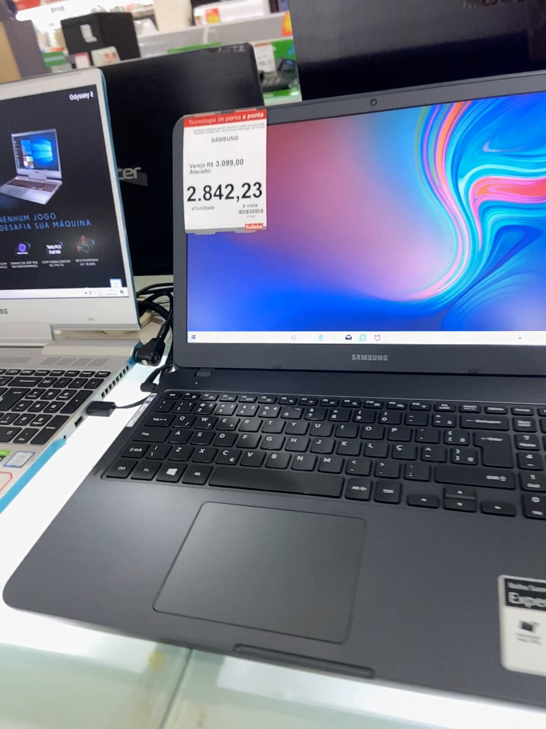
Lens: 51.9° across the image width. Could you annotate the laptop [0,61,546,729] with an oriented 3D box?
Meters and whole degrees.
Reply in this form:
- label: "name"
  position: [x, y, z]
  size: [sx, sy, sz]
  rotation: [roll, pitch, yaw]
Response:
- label: "laptop"
  position: [0.050, -0.043, 0.372]
  size: [0.366, 0.193, 0.371]
  rotation: [1, 33, 19]
